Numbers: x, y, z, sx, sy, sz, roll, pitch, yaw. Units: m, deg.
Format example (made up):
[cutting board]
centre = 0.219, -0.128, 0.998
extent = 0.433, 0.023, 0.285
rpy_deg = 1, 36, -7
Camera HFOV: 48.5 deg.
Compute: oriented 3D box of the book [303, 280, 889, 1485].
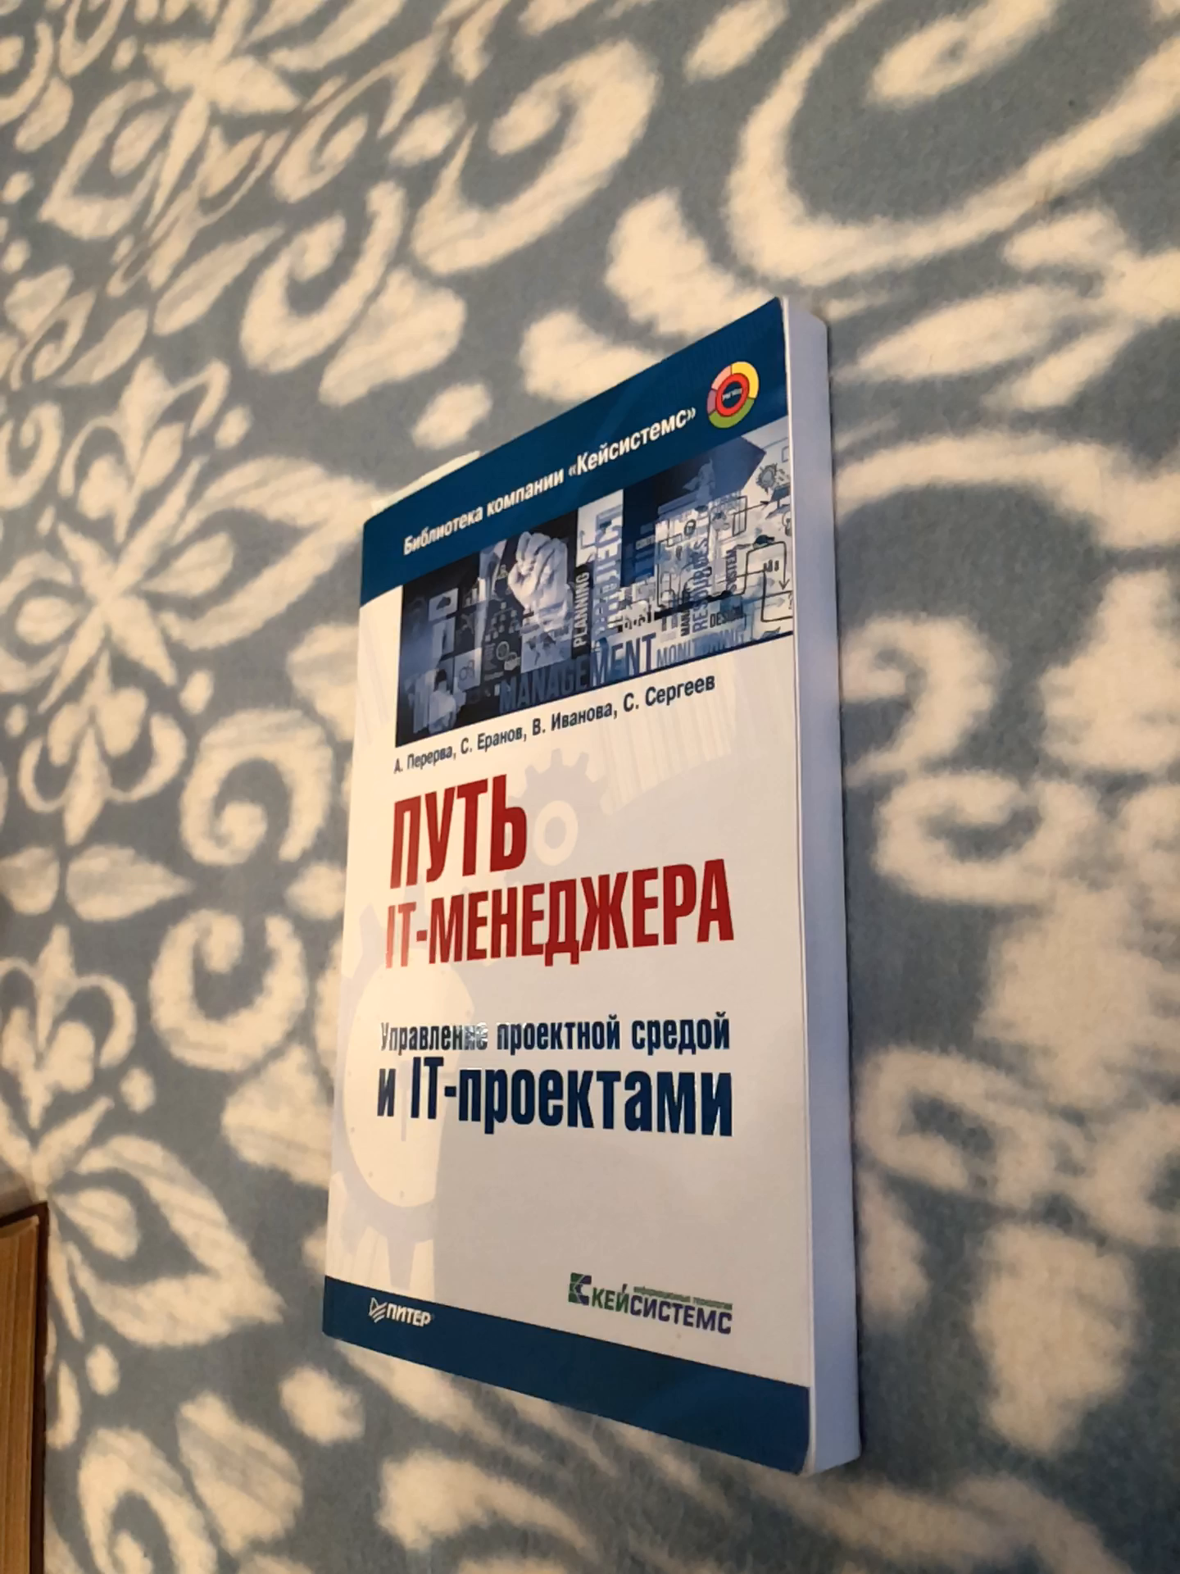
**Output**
[book]
centre = -0.011, 0.021, 0.315
extent = 0.173, 0.019, 0.228
rpy_deg = -12, 72, 47
